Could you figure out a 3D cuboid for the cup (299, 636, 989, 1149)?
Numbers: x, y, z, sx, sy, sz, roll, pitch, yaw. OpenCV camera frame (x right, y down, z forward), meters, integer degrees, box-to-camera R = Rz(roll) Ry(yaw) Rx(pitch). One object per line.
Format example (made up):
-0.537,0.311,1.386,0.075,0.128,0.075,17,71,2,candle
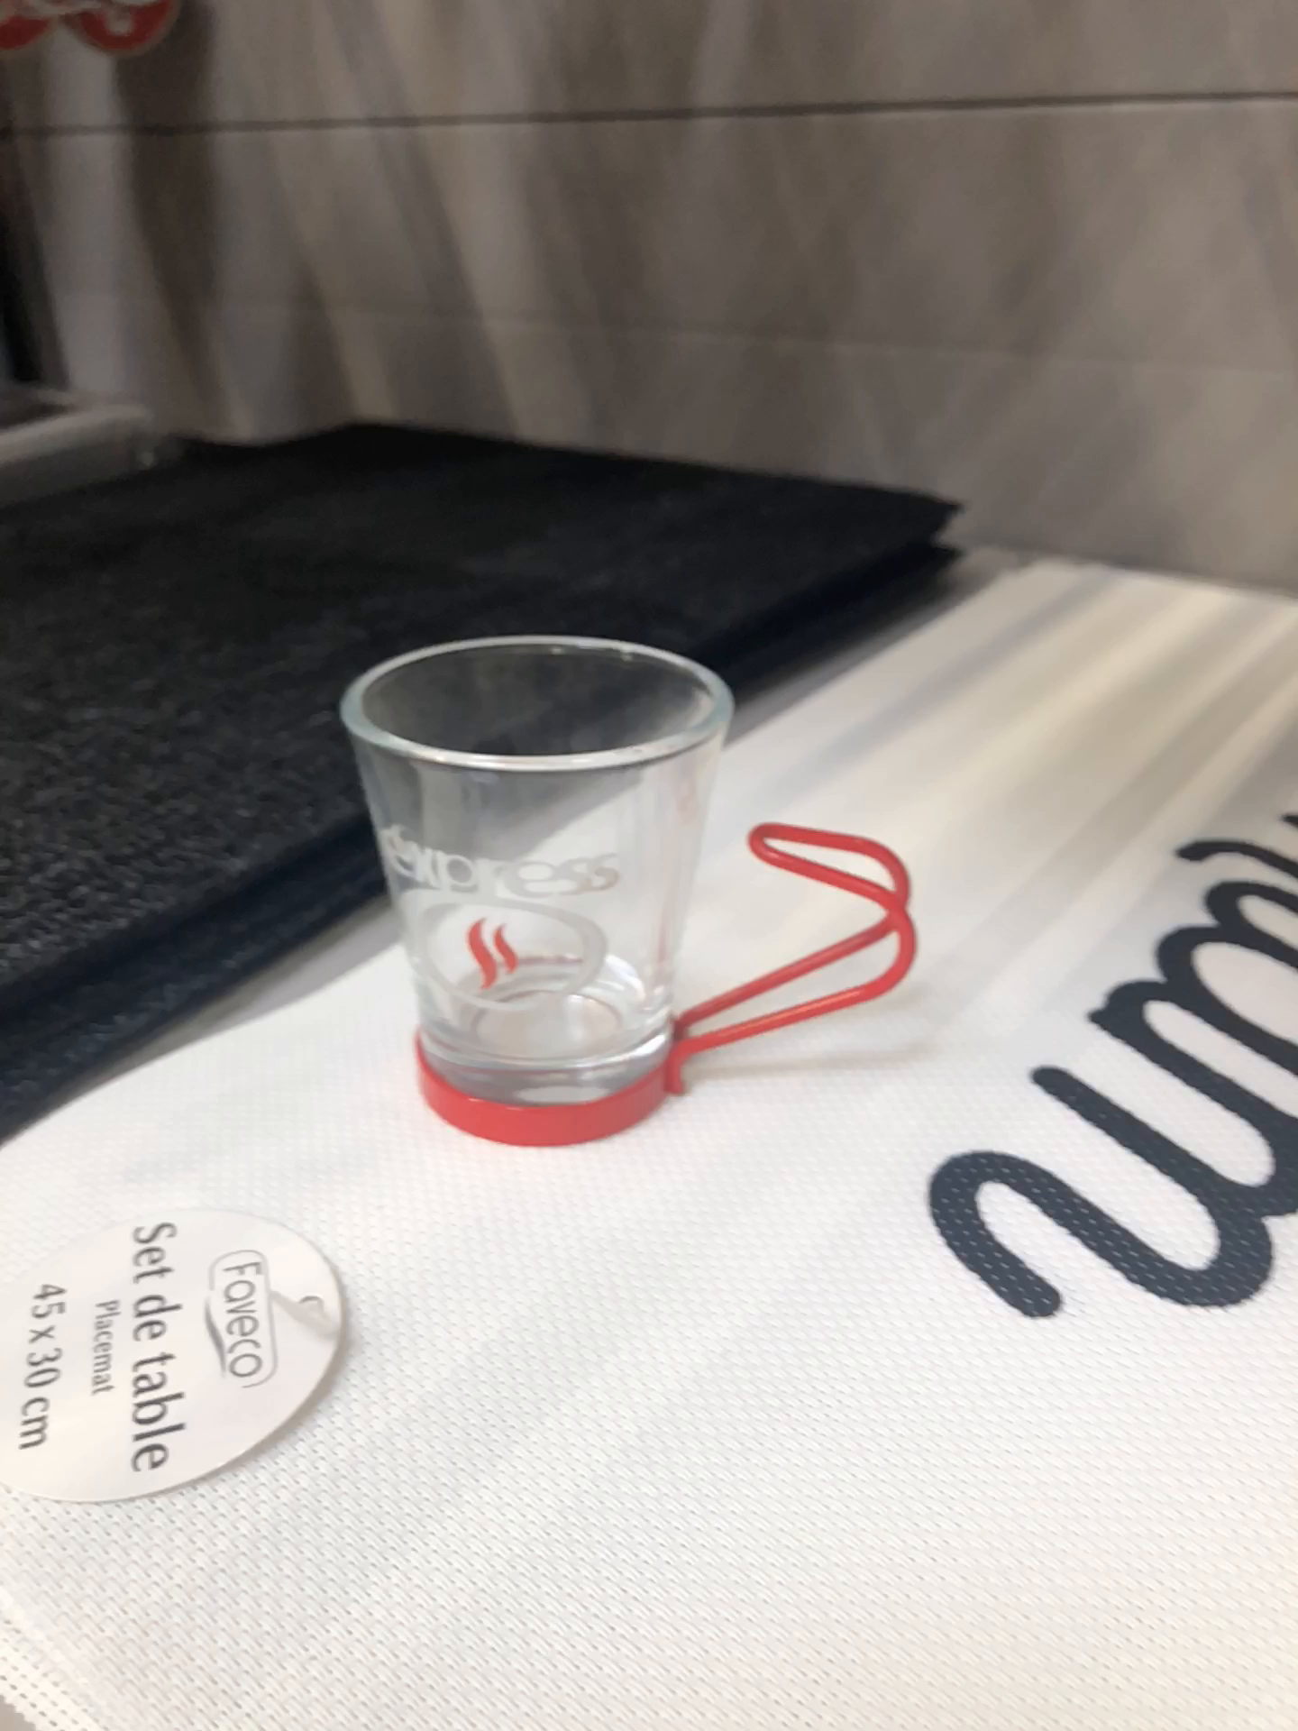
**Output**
0.000,0.002,0.233,0.092,0.063,0.056,0,24,1,cup
